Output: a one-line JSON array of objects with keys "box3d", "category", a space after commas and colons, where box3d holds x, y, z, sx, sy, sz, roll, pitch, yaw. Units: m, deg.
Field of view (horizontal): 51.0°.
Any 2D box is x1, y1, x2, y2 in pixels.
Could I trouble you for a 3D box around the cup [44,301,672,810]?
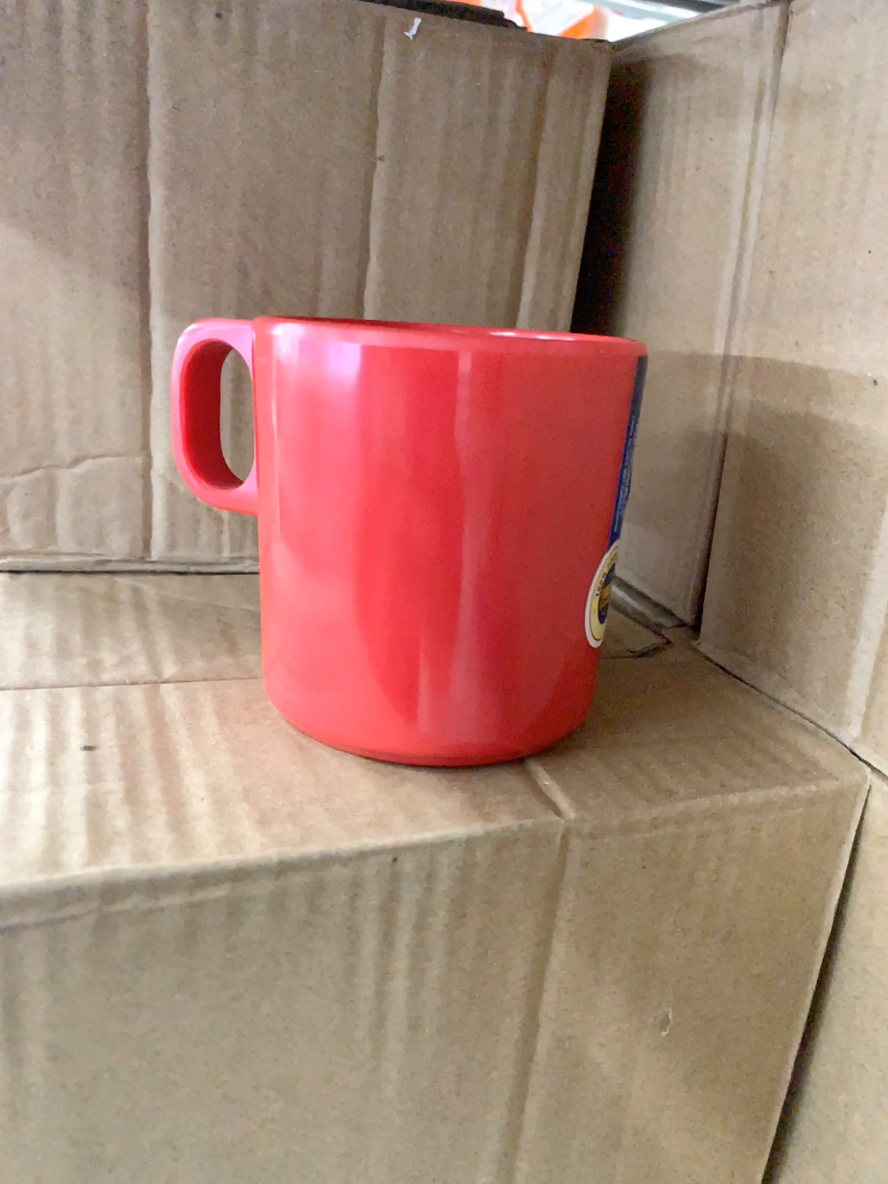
[{"box3d": [-0.019, -0.019, 0.192, 0.104, 0.073, 0.065, 15, 22, 31], "category": "cup"}]
